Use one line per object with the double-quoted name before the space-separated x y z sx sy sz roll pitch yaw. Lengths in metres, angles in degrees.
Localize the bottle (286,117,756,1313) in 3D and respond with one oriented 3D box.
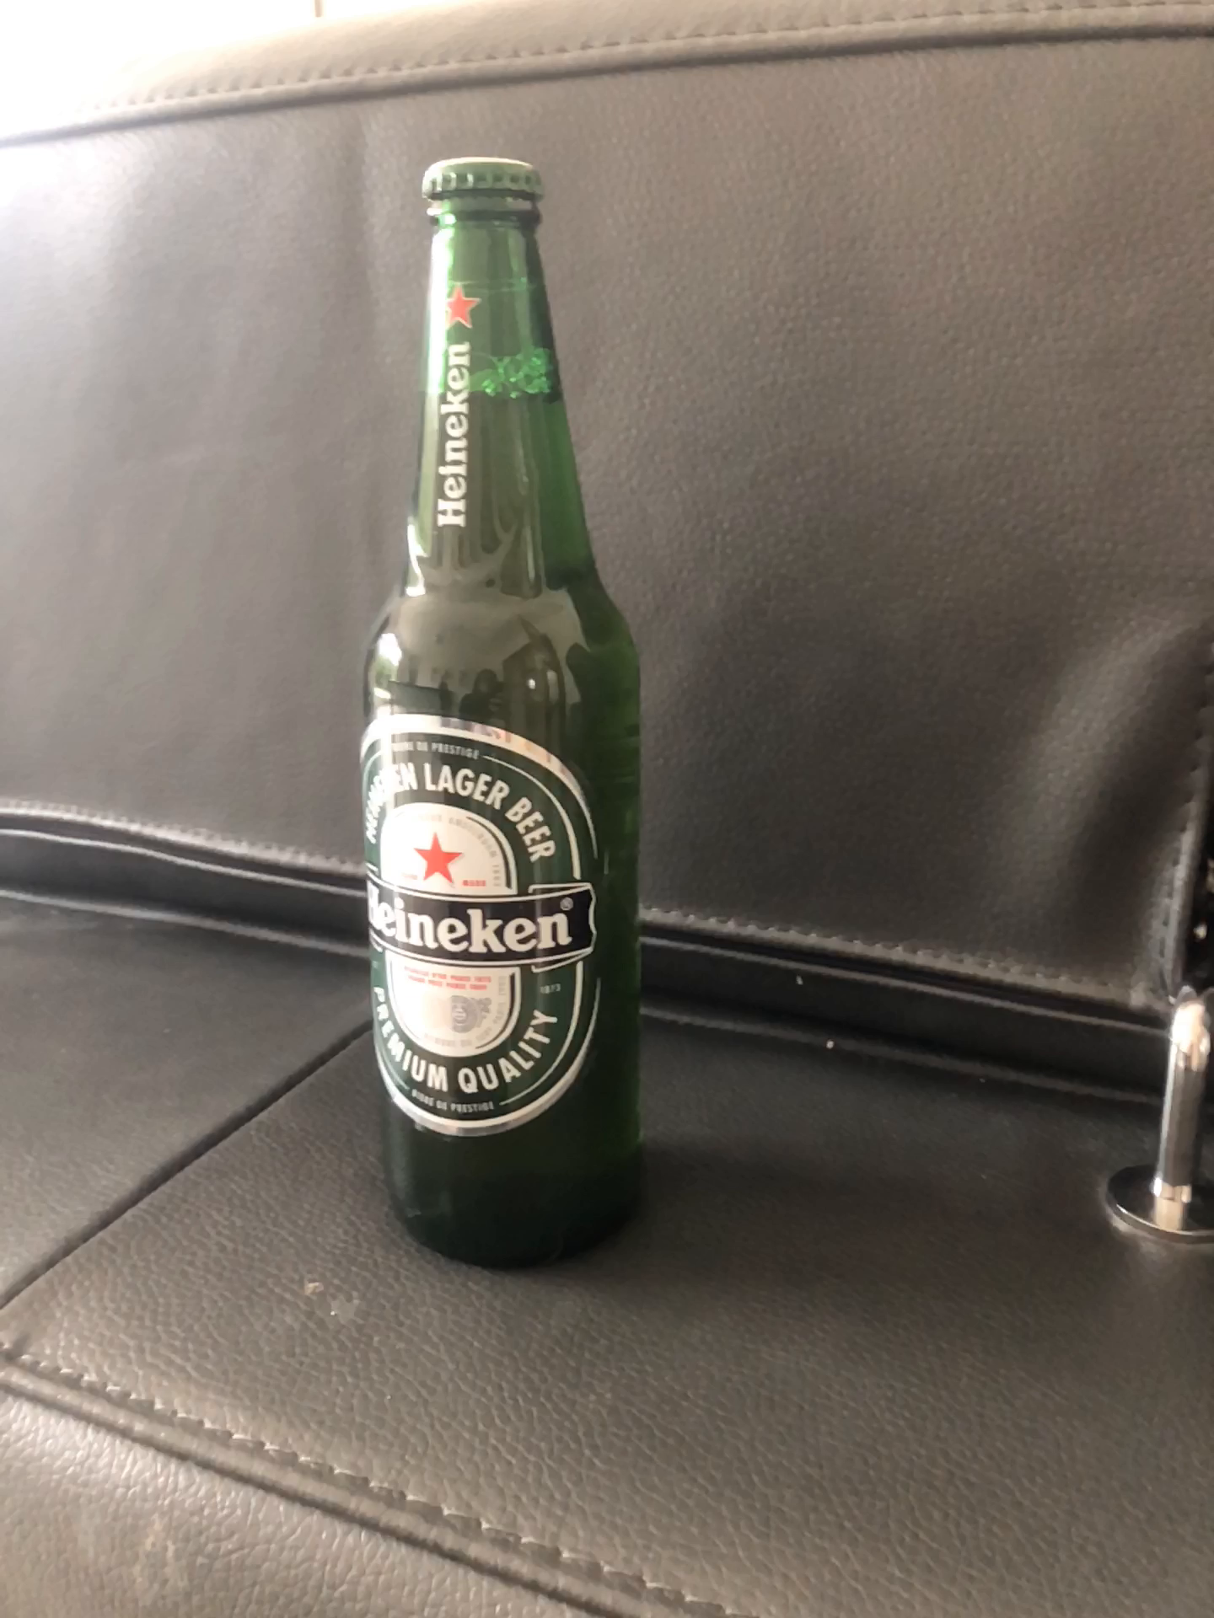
"bottle" -0.017 -0.020 0.347 0.080 0.269 0.080 0 16 0
